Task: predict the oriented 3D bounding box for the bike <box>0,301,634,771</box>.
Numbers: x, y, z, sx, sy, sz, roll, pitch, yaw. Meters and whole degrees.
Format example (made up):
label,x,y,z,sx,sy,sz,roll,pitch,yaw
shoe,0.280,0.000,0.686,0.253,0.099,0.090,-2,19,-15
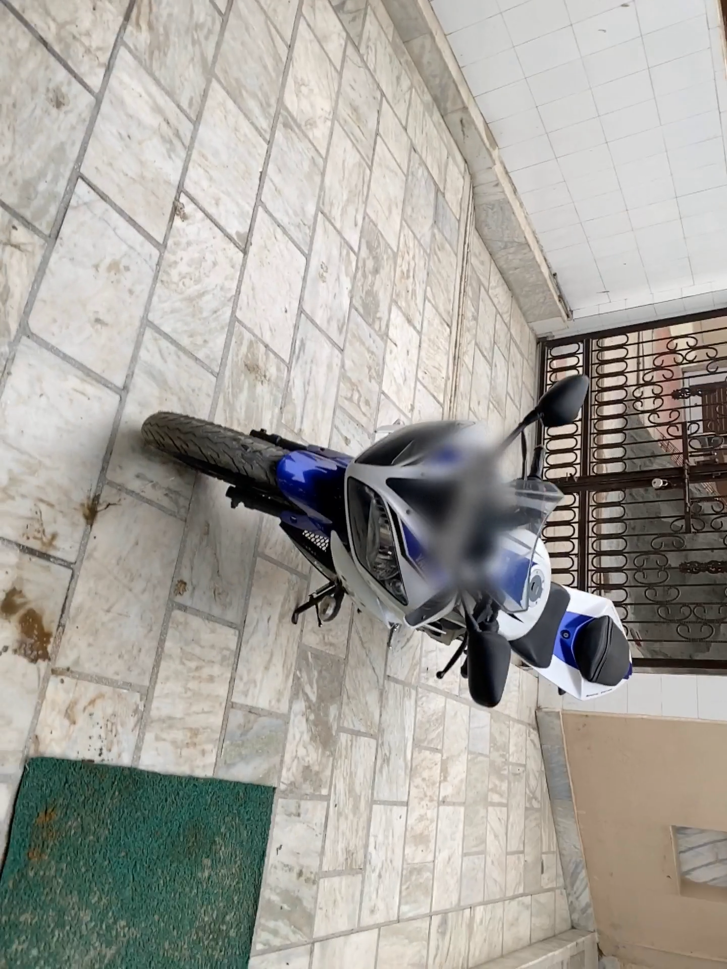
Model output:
label,x,y,z,sx,sy,sz,roll,pitch,yaw
bike,0.104,0.358,2.346,1.892,0.902,0.734,36,55,-47
